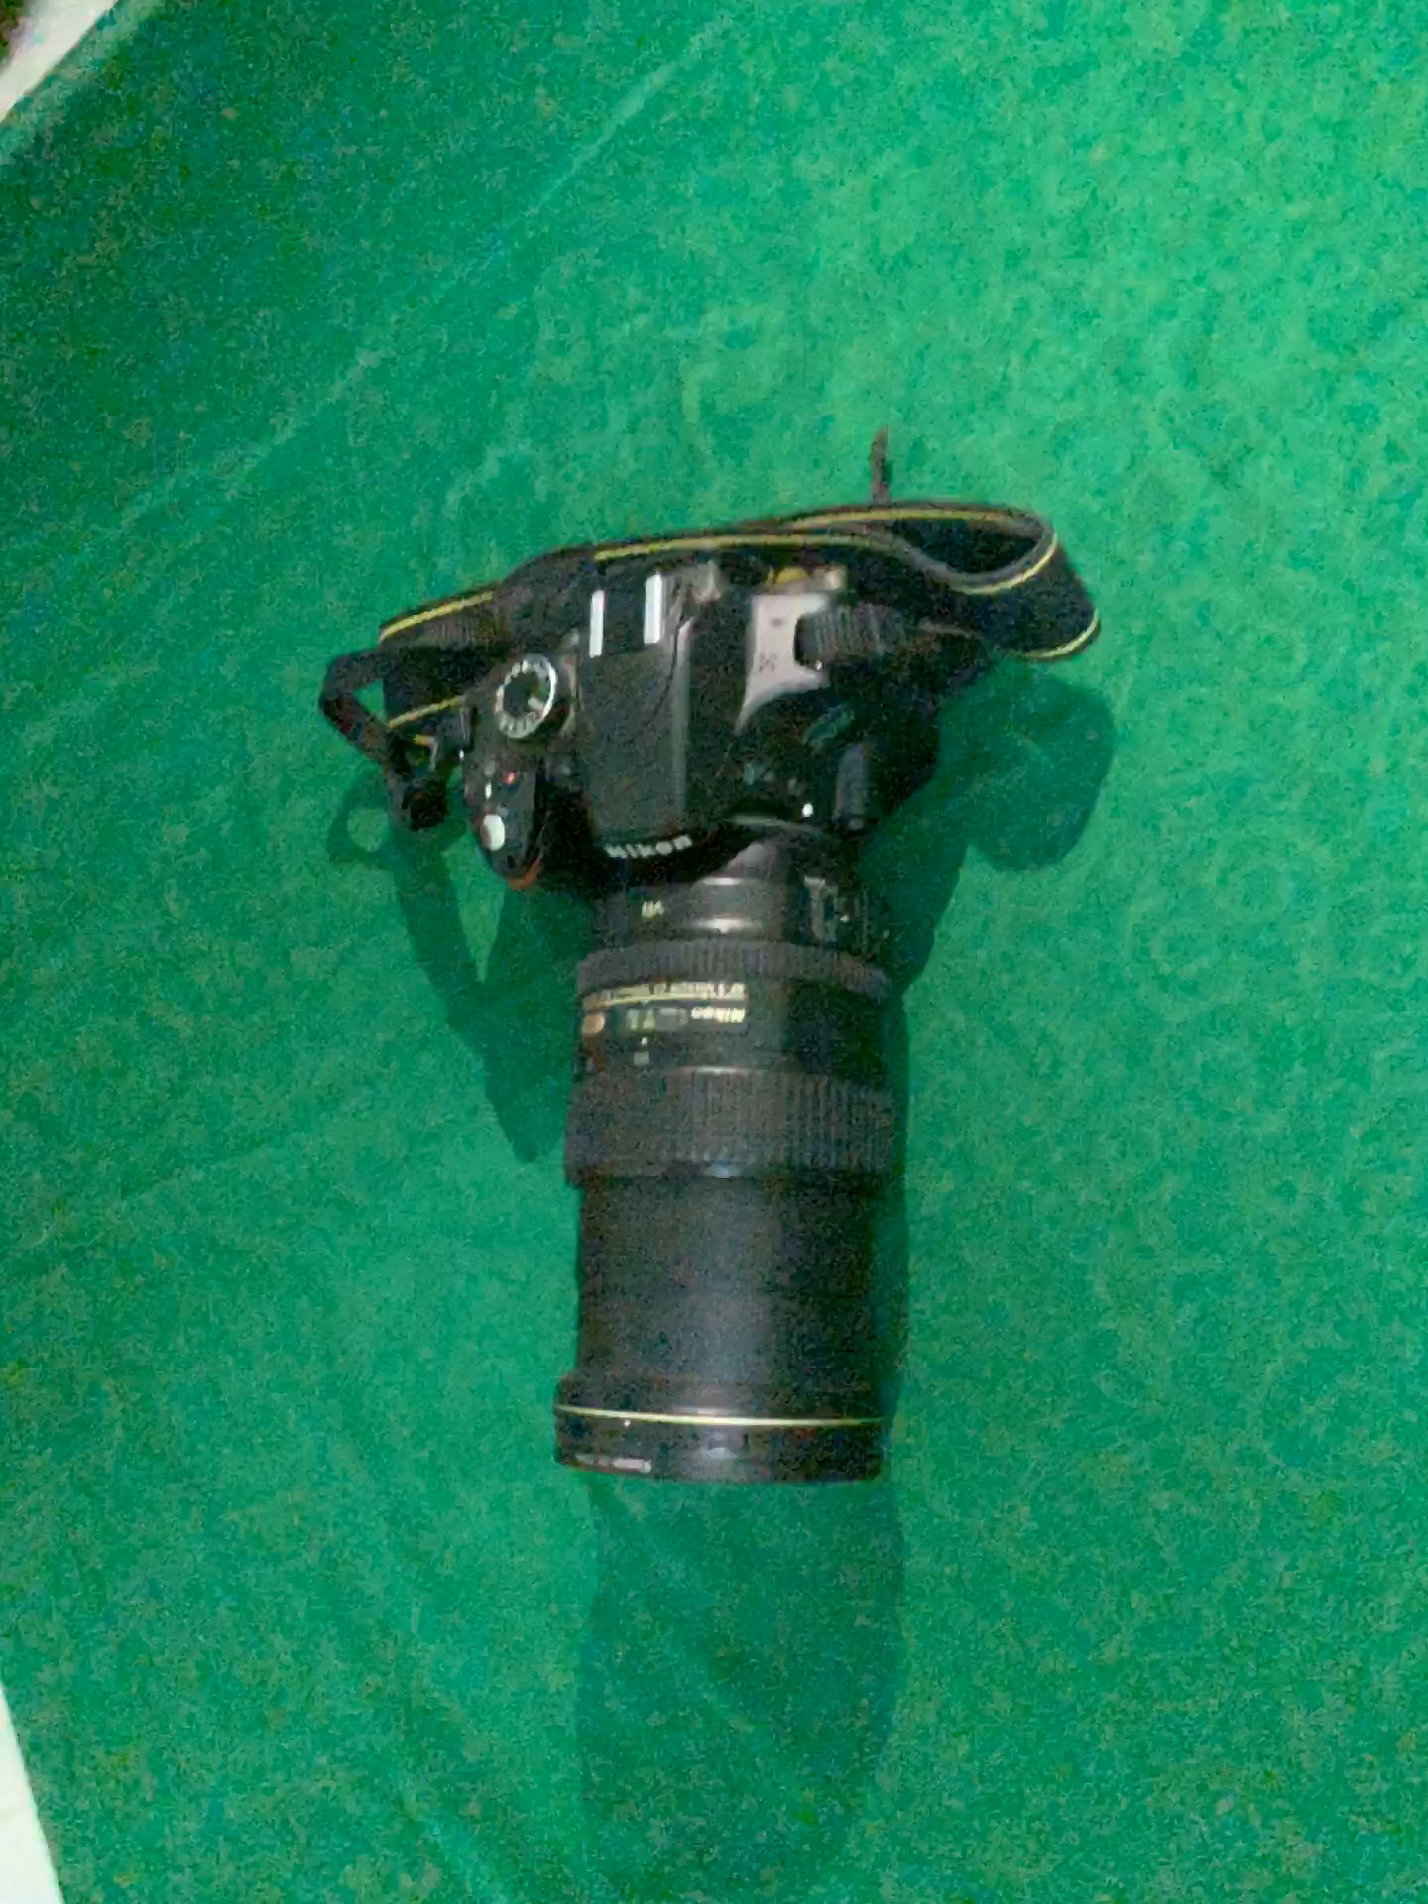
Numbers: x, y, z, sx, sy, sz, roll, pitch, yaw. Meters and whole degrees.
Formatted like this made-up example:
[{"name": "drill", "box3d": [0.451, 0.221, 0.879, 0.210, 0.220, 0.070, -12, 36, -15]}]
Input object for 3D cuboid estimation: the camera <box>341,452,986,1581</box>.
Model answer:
[{"name": "camera", "box3d": [-0.007, 0.017, 0.365, 0.123, 0.088, 0.234, -6, 76, 29]}]
